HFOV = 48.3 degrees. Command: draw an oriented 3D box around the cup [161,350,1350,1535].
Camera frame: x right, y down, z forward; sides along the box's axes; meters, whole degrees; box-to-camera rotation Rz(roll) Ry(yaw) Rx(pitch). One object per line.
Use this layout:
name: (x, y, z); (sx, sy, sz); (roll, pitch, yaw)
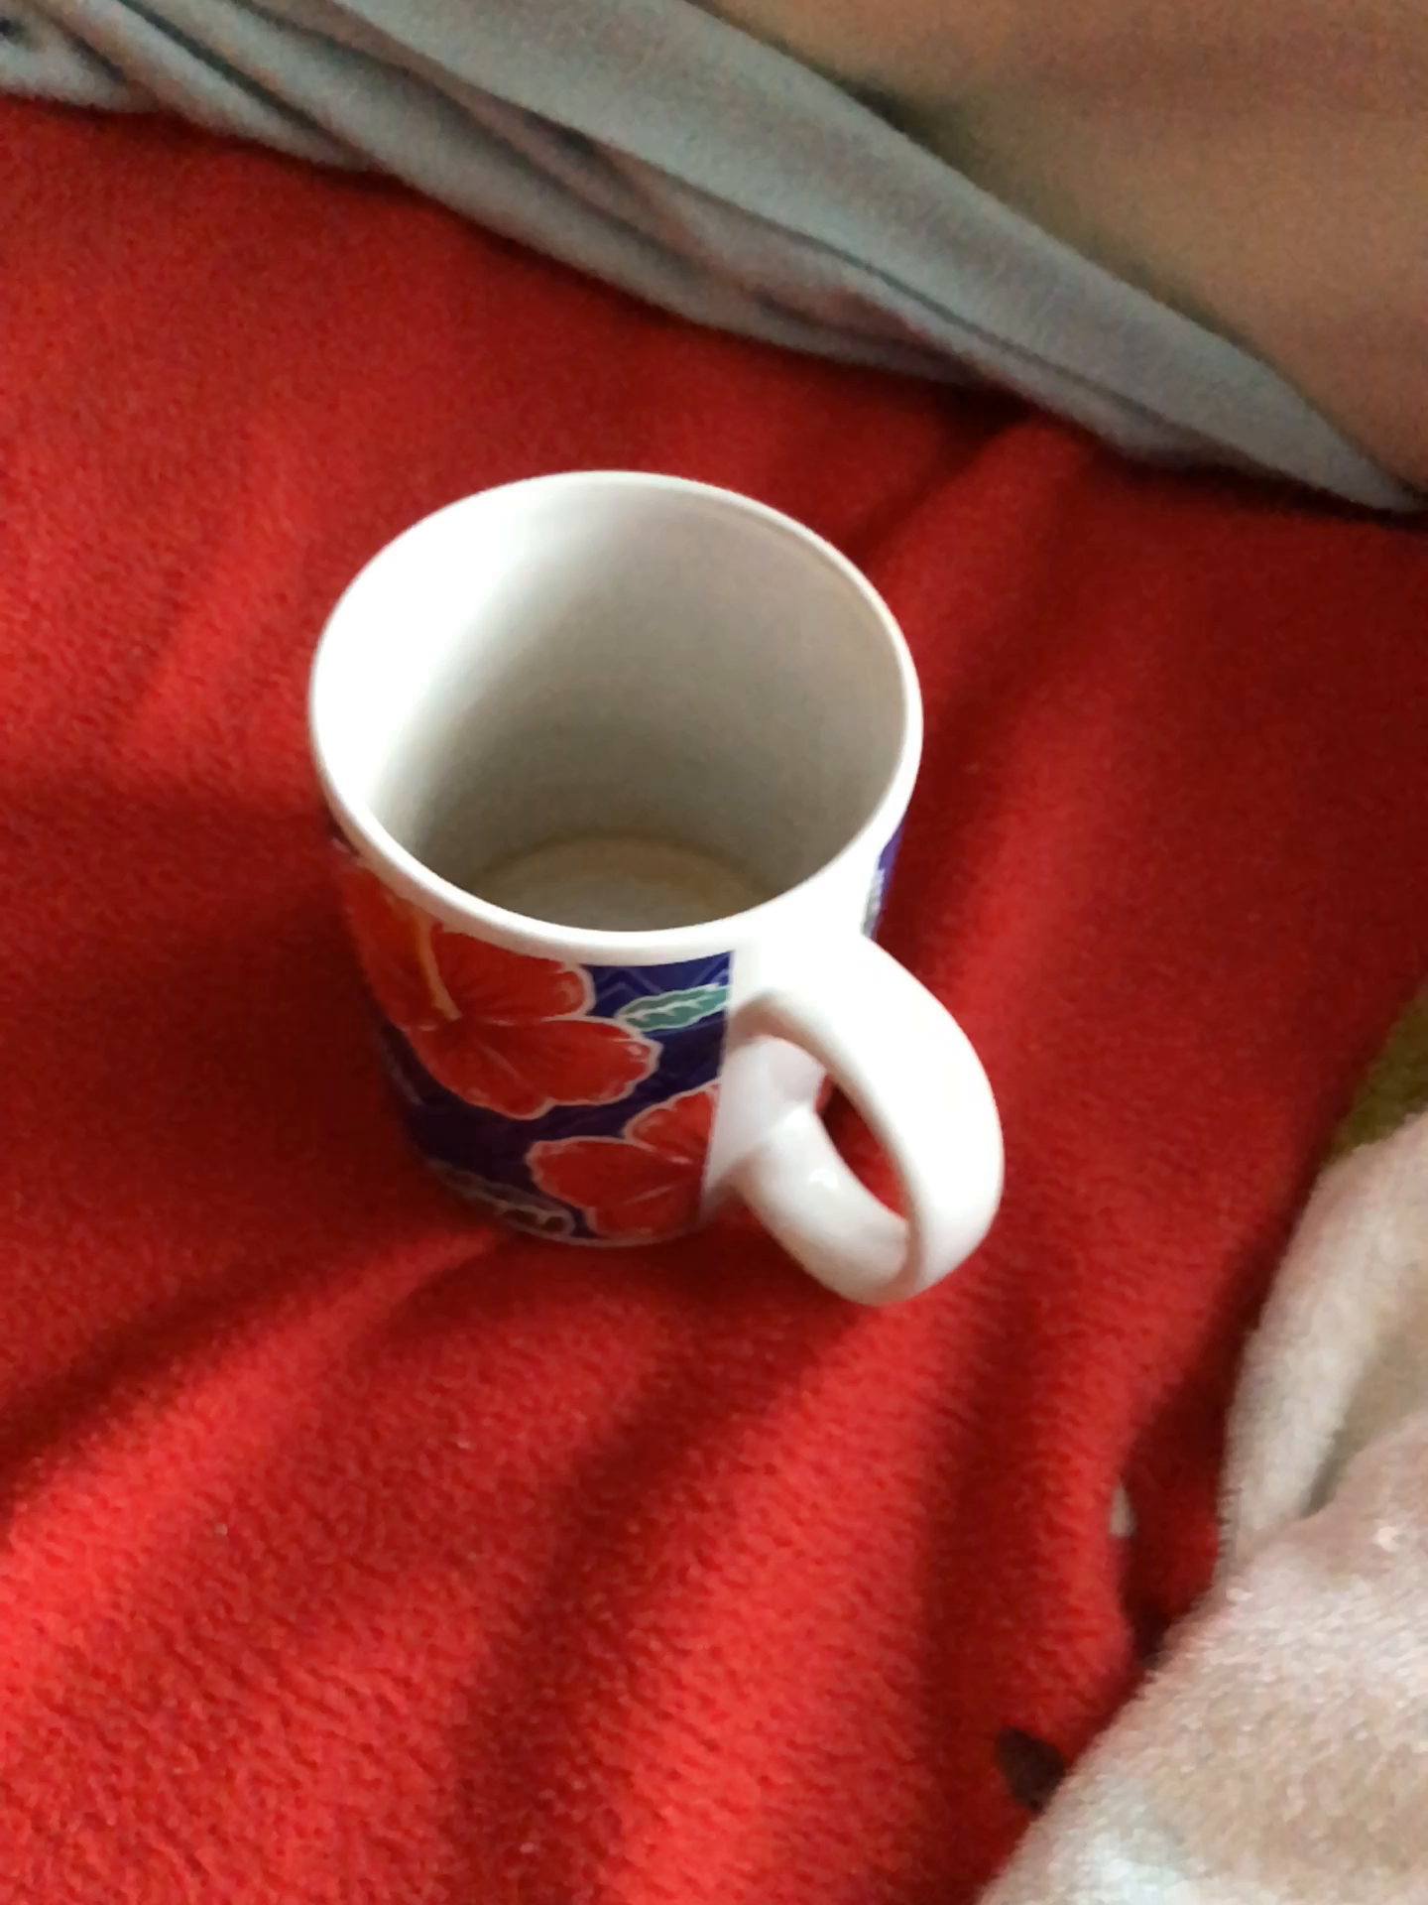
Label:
cup: (0.001, 0.000, 0.240); (0.120, 0.100, 0.090); (39, 61, 15)
